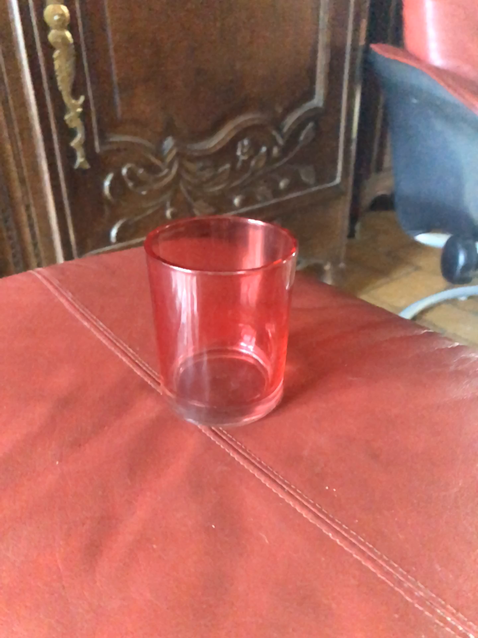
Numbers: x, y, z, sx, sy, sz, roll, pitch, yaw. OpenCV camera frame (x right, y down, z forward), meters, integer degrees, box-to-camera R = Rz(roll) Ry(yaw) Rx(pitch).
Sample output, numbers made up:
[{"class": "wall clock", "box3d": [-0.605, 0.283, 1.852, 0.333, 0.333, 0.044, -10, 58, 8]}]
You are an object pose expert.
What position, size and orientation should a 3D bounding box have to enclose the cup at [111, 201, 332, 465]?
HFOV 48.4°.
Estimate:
[{"class": "cup", "box3d": [-0.007, 0.002, 0.260, 0.070, 0.089, 0.070, 0, 30, 0]}]
